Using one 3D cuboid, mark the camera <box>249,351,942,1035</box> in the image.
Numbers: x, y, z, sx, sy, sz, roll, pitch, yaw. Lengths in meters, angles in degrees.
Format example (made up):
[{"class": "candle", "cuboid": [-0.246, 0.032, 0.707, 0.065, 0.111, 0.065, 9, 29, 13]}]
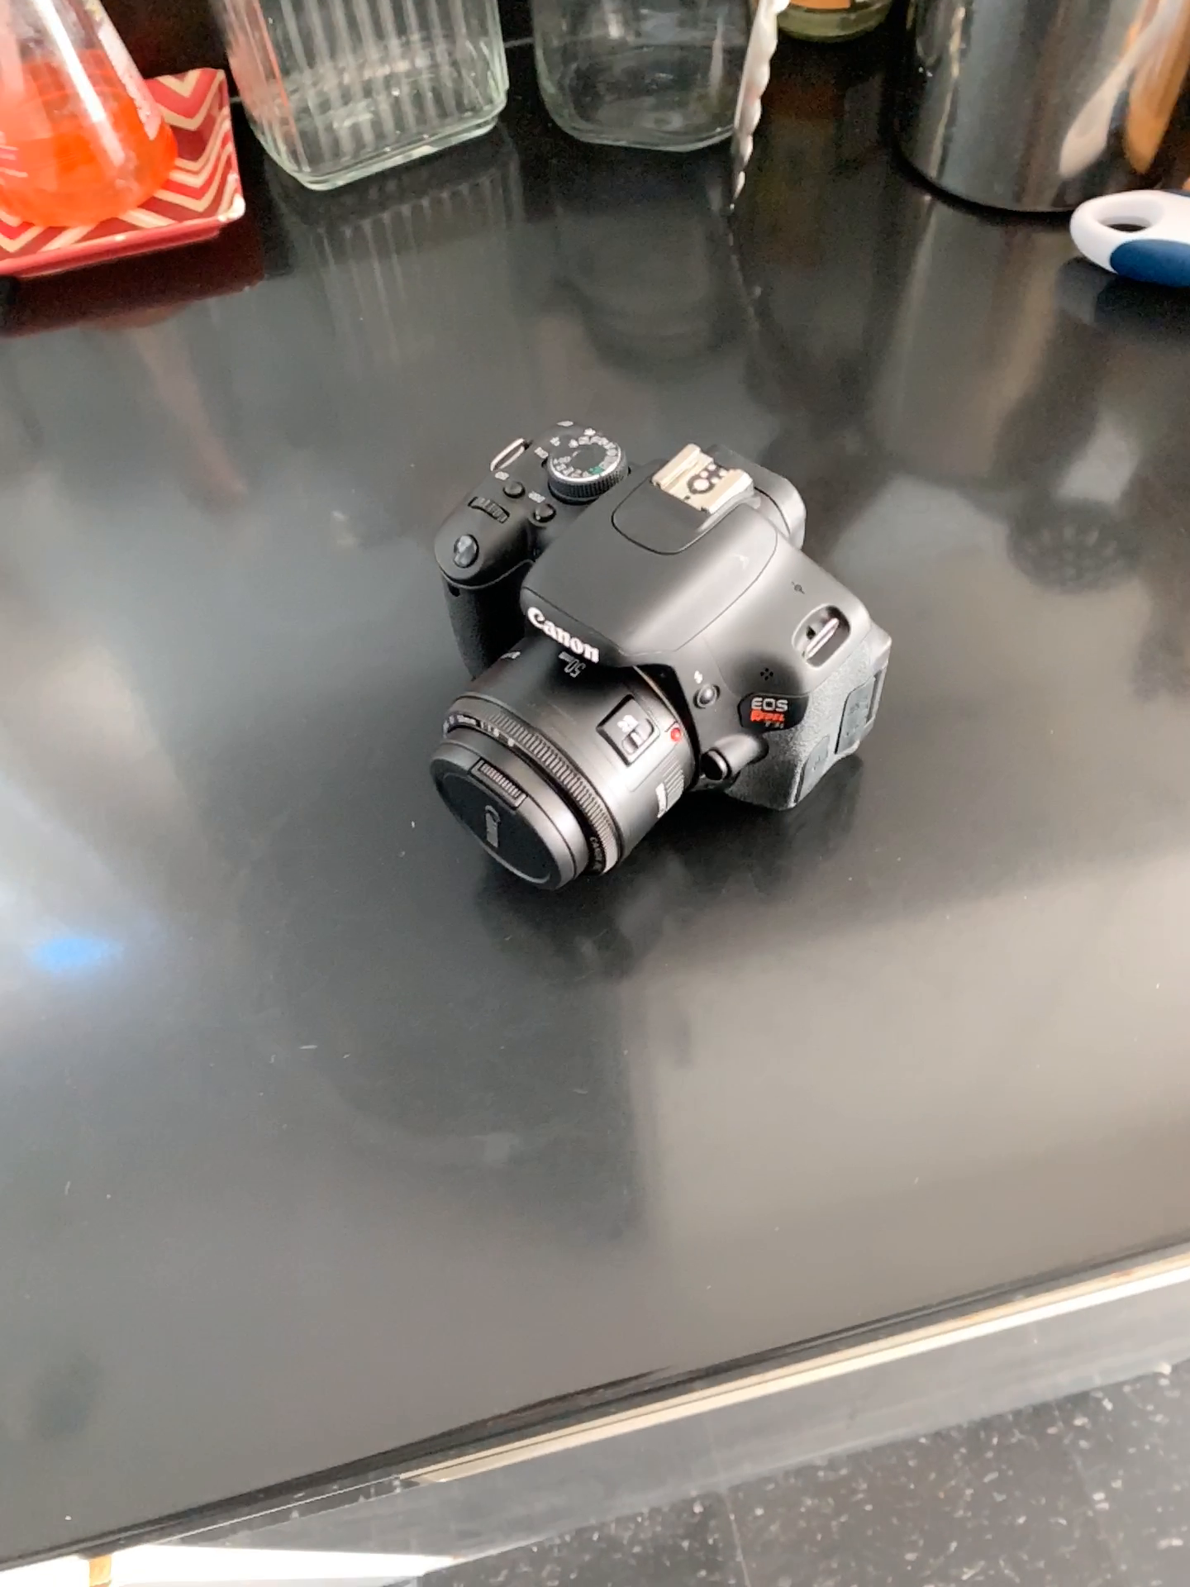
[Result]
[{"class": "camera", "cuboid": [0.003, -0.036, 0.395, 0.140, 0.100, 0.145, 35, 67, 24]}]
